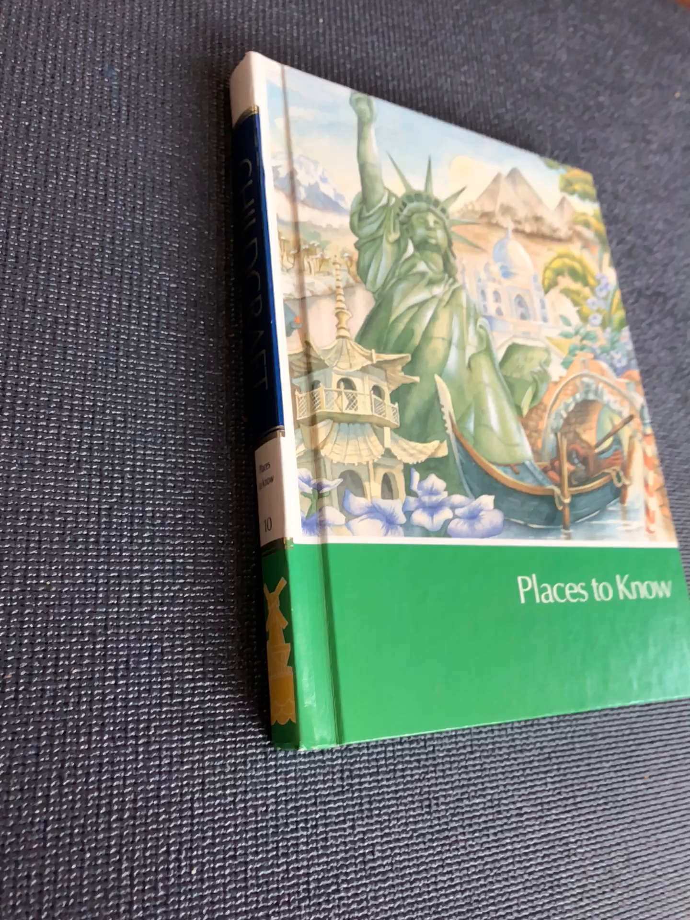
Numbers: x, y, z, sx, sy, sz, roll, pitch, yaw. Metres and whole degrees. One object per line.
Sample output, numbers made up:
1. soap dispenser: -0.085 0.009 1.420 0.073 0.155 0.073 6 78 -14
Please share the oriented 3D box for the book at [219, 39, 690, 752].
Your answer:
1. book: 0.051 -0.027 0.312 0.191 0.030 0.250 5 70 -31
